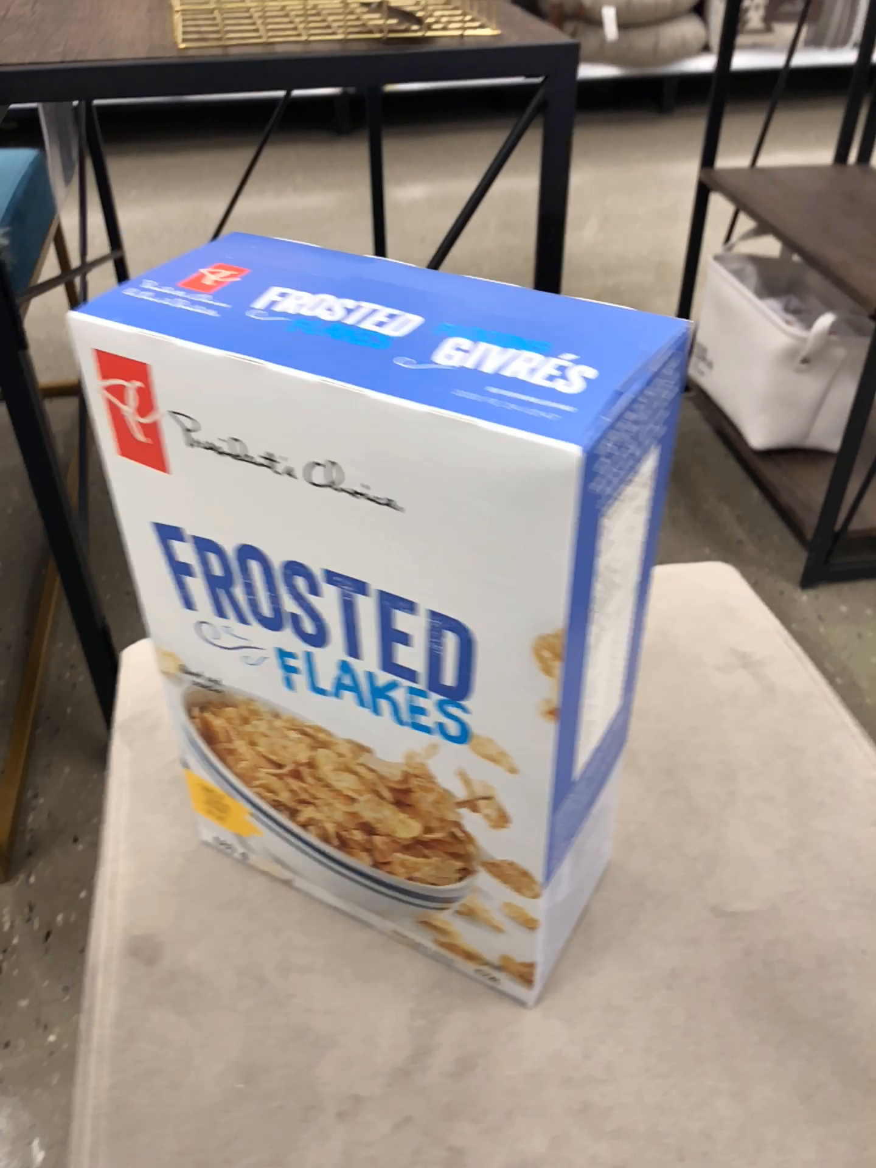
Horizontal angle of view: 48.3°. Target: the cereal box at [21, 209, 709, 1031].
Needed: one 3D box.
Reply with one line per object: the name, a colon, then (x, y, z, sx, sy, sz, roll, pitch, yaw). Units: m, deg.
cereal box: (-0.025, 0.021, 0.404, 0.200, 0.289, 0.100, 19, 42, 23)
